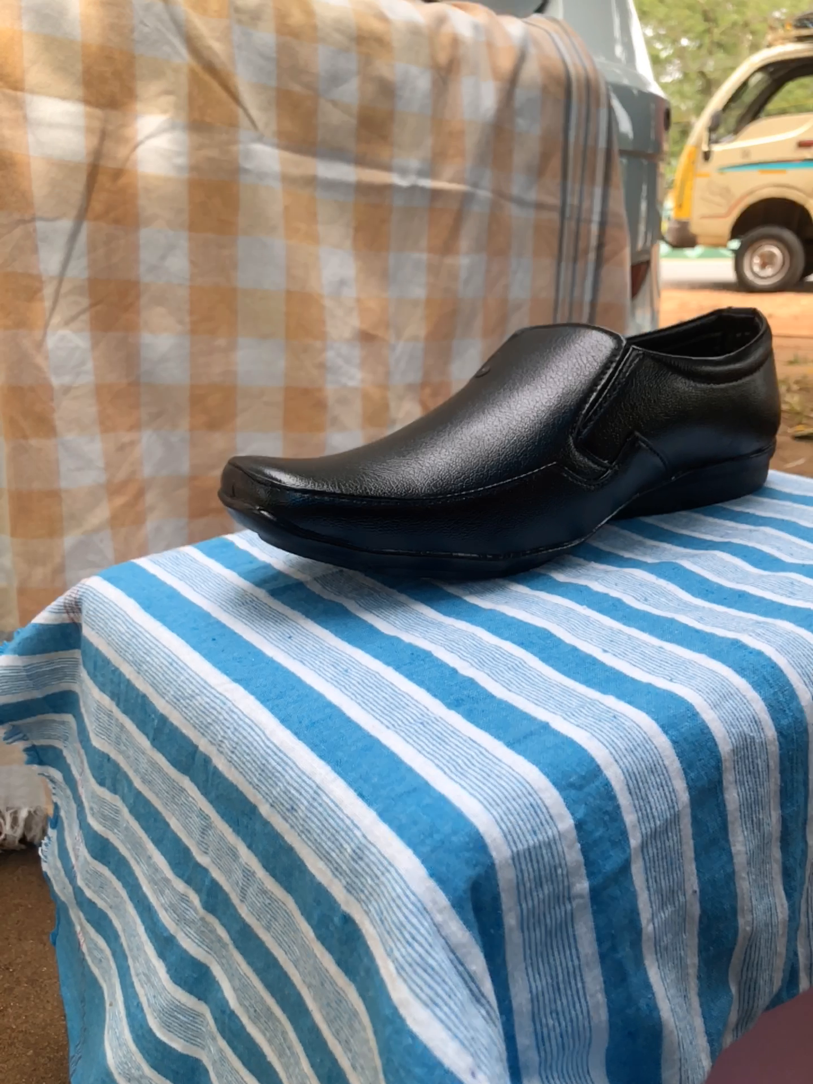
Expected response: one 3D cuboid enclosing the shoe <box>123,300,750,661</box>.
[{"bbox_3d":[0.035,-0.052,0.428,0.301,0.110,0.100,-15,22,-40],"label":"shoe"}]
